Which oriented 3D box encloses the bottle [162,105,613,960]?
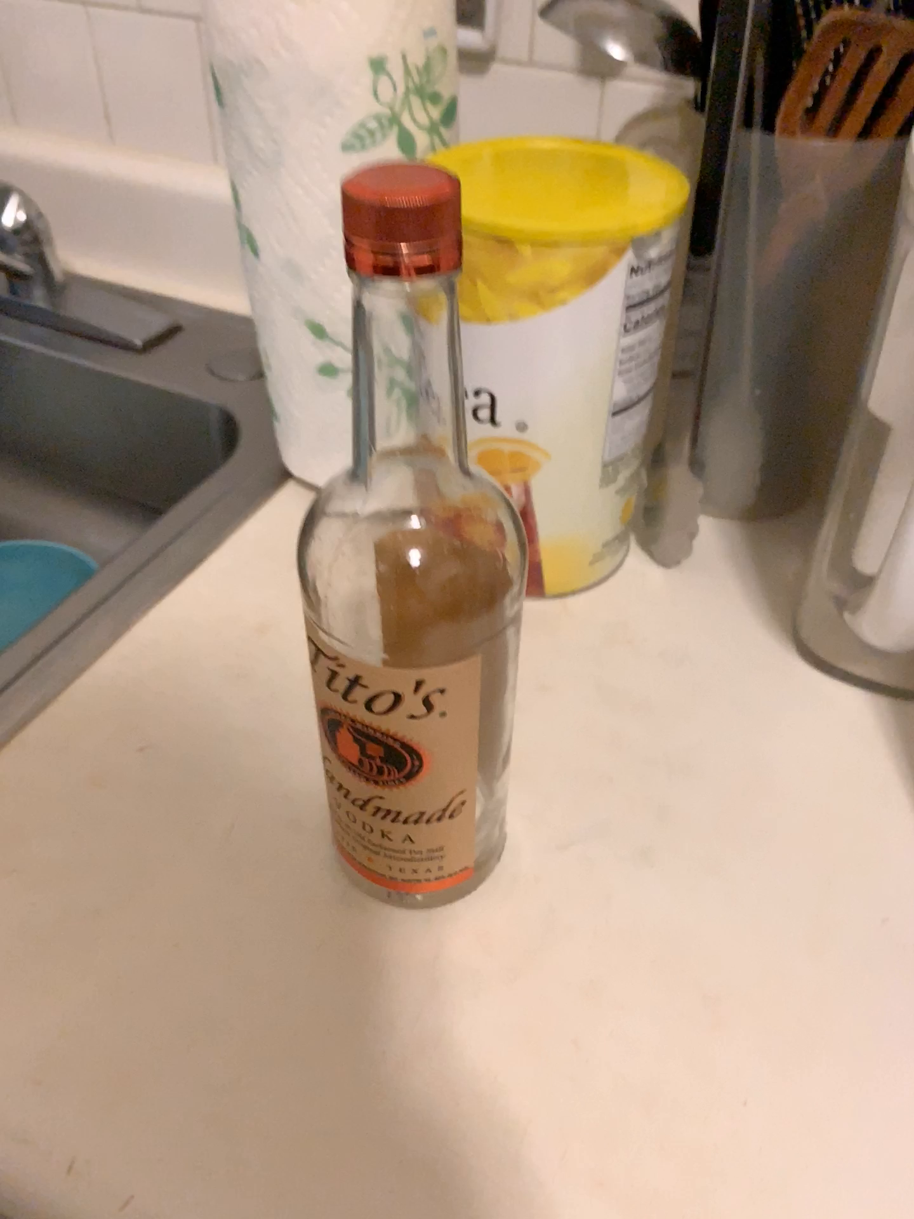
[{"bbox_3d":[-0.019,-0.002,0.333,0.080,0.289,0.080,1,42,-1],"label":"bottle"}]
